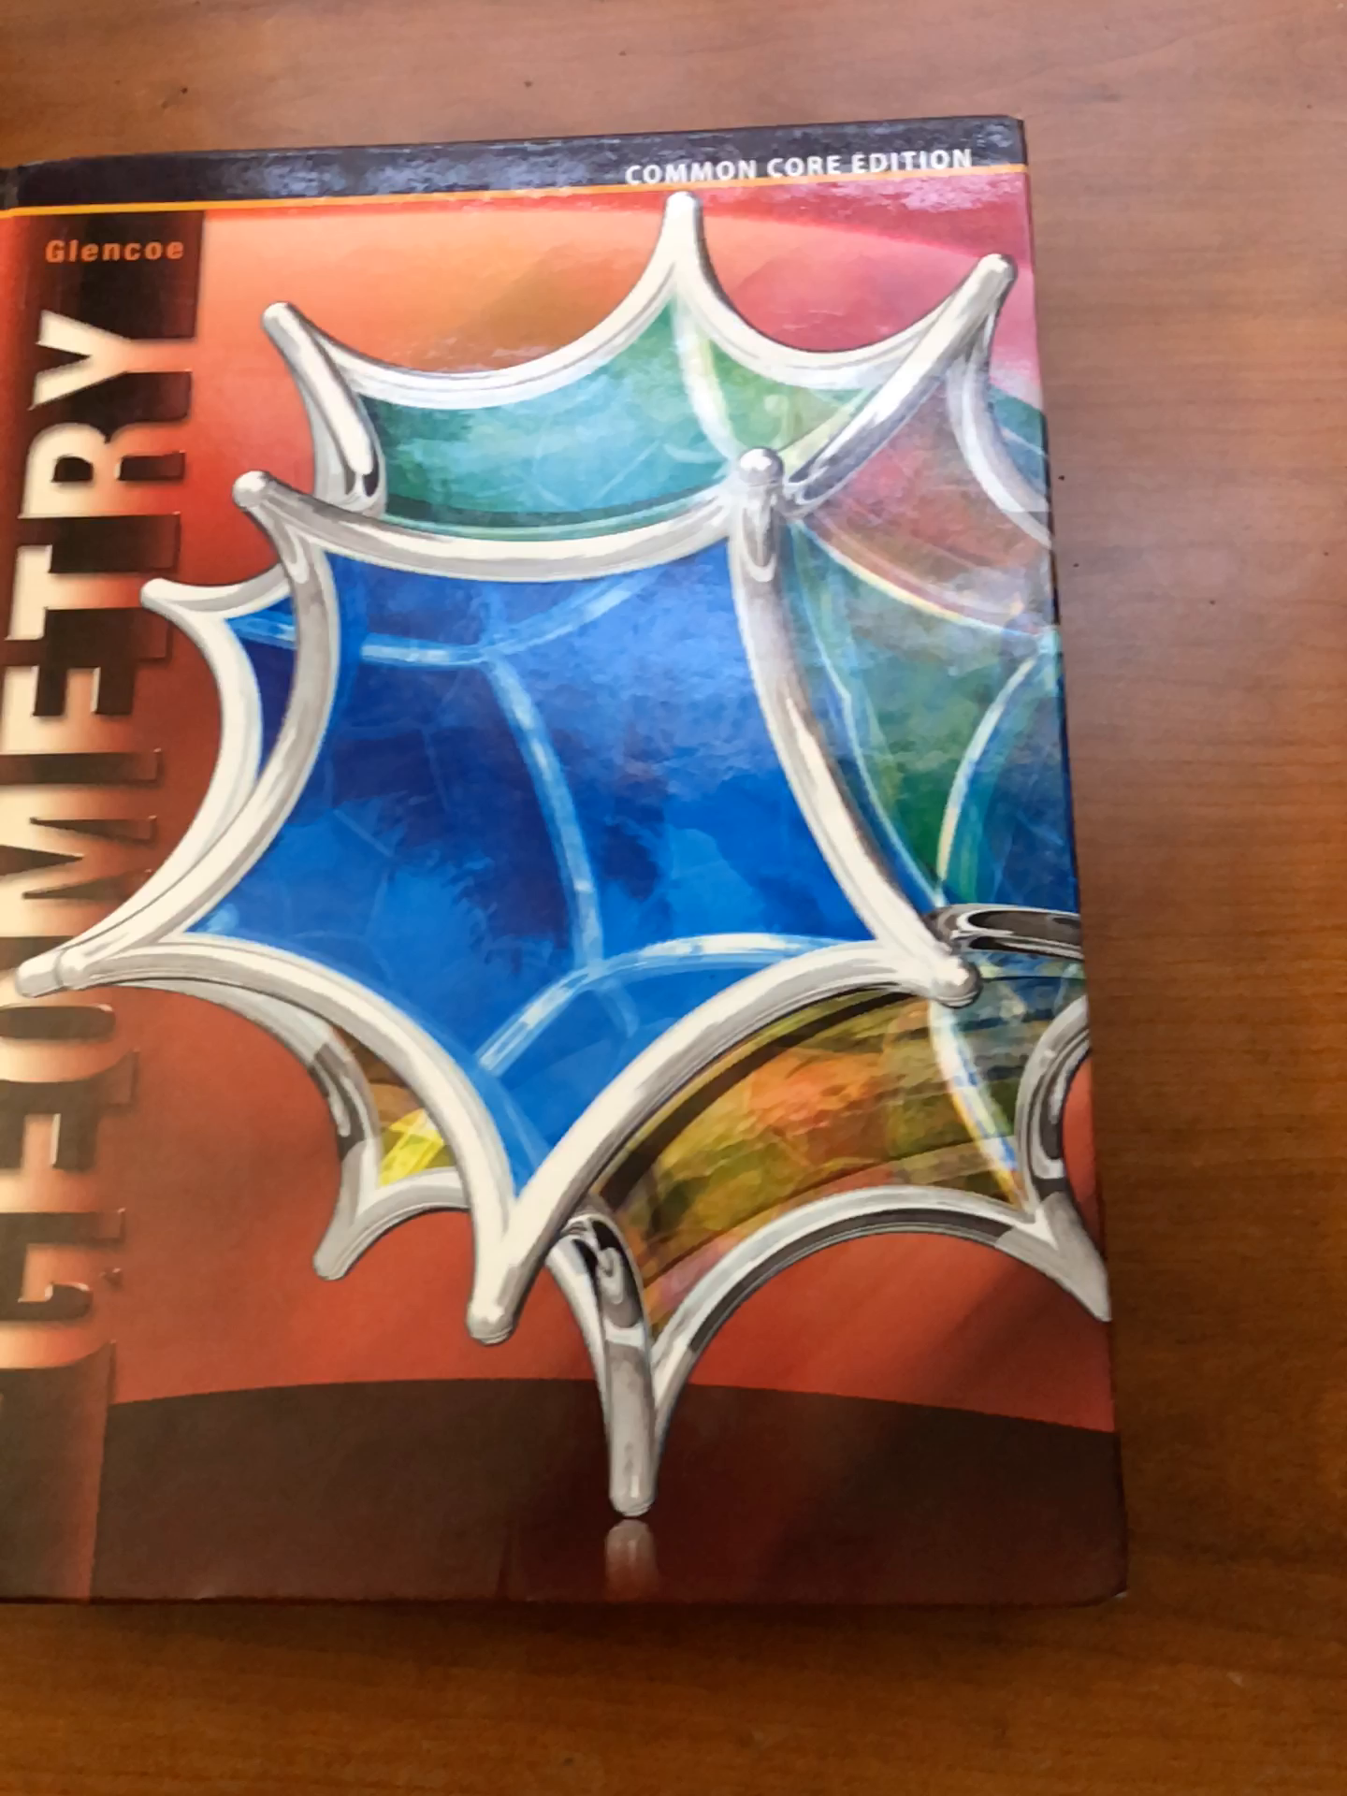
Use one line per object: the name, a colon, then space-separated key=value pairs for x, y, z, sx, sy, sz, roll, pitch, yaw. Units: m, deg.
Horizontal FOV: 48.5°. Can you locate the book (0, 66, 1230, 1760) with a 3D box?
book: x=-0.027 y=-0.012 z=0.298 sx=0.229 sy=0.050 sz=0.310 roll=-1 pitch=76 yaw=4
